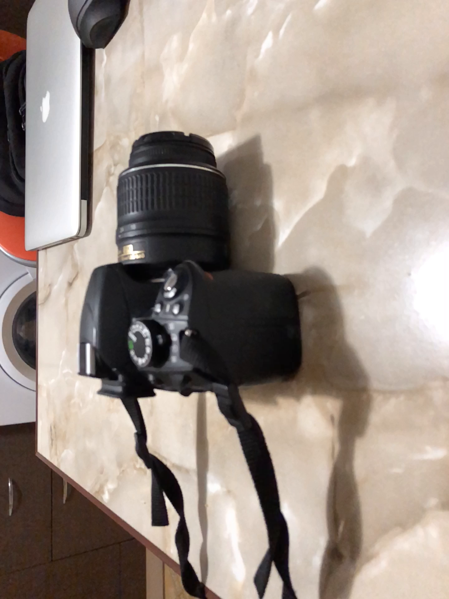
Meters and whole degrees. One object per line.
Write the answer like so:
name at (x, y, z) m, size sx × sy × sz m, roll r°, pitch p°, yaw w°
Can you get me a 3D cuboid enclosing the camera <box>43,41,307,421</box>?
camera at (-0.037, -0.025, 0.283) m, size 0.126 × 0.099 × 0.160 m, roll -9°, pitch 82°, yaw 56°
